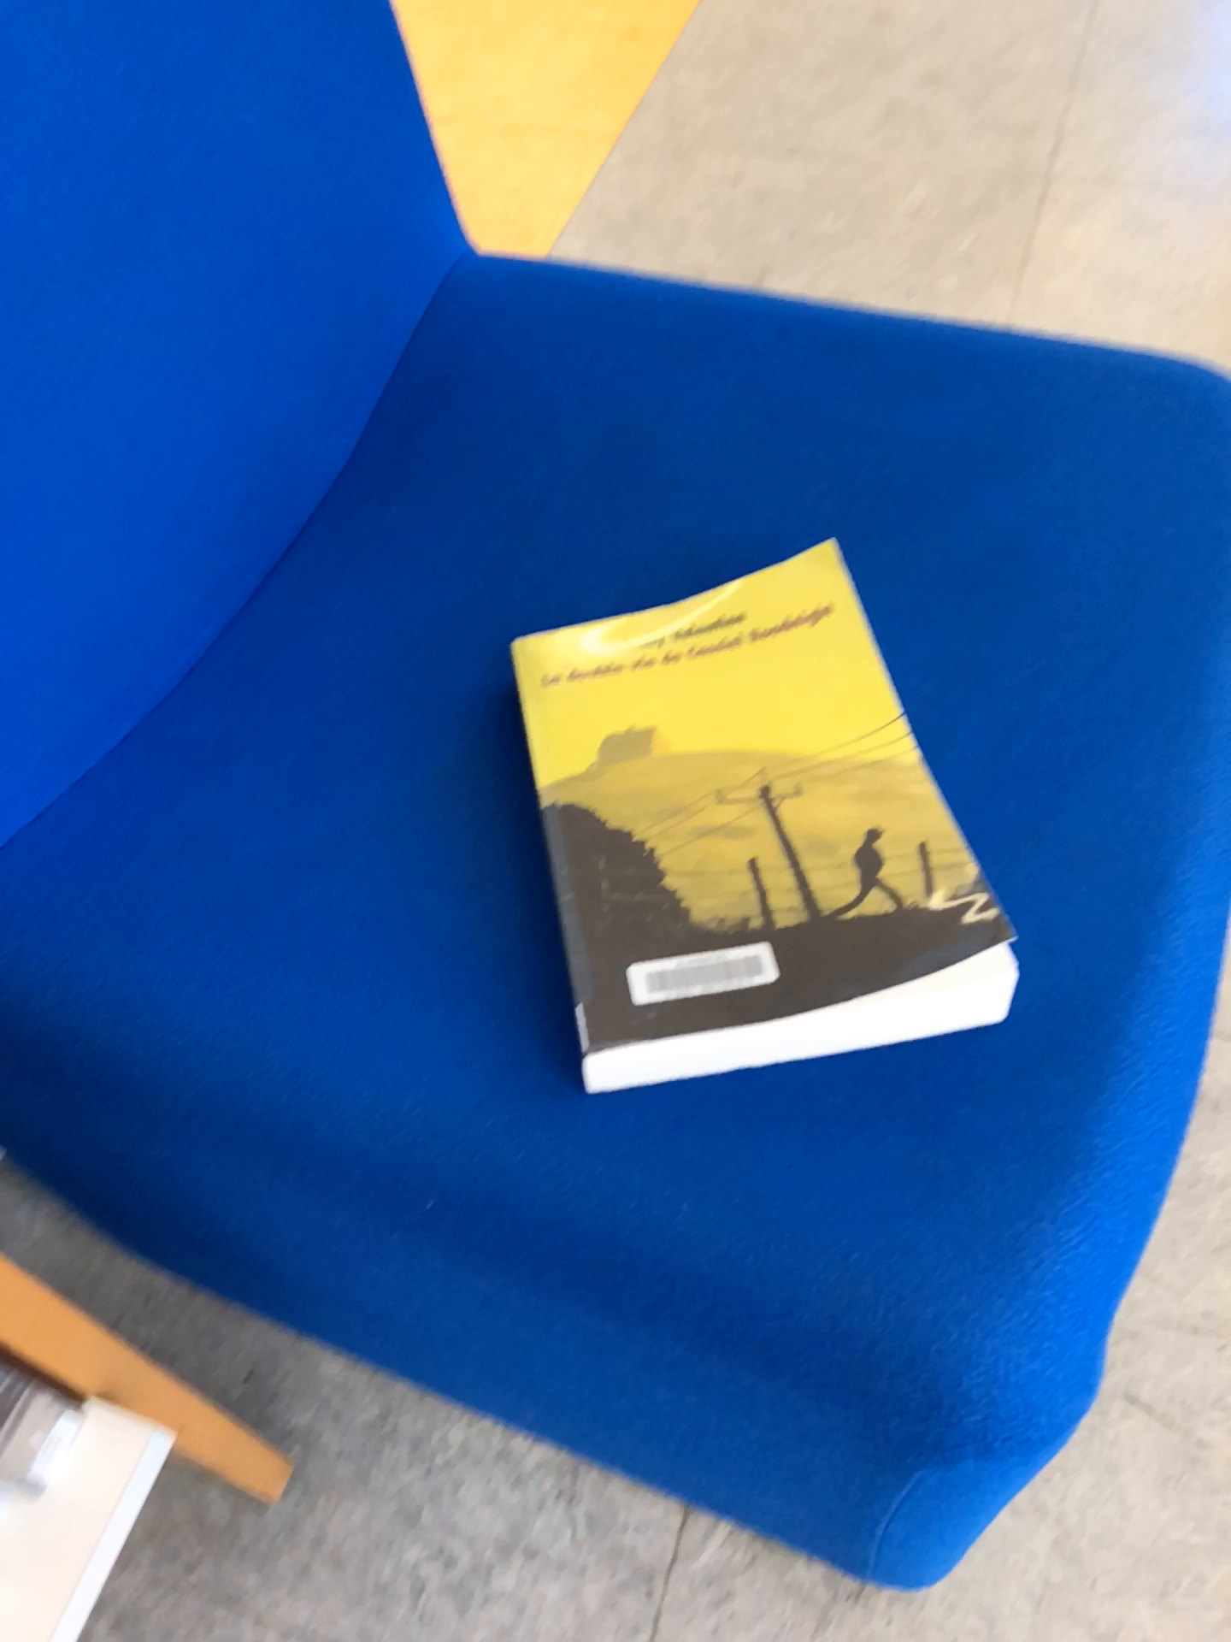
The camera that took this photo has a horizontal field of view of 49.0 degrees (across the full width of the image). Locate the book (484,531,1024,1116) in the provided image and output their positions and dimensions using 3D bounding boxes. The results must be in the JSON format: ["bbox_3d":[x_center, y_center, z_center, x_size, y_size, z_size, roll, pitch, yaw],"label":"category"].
[{"bbox_3d":[0.038,-0.011,0.496,0.145,0.040,0.215,-11,50,-2],"label":"book"}]
